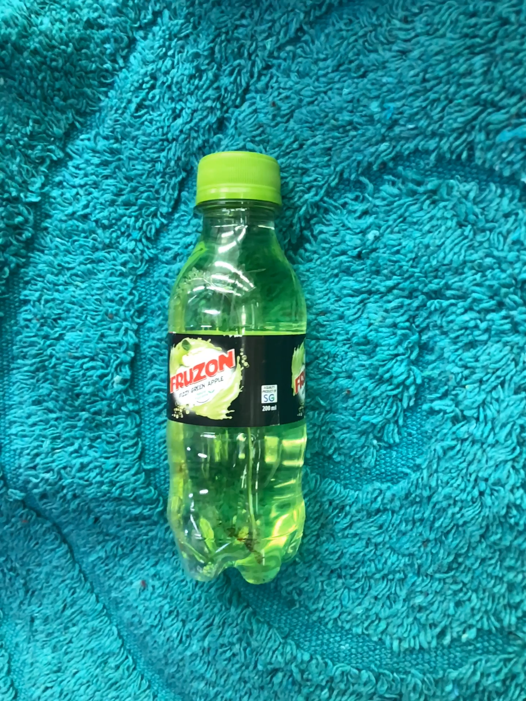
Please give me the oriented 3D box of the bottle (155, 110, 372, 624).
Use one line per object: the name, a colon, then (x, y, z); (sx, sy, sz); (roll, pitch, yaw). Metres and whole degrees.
bottle: (0.001, 0.005, 0.219); (0.060, 0.050, 0.160); (4, 97, 33)
